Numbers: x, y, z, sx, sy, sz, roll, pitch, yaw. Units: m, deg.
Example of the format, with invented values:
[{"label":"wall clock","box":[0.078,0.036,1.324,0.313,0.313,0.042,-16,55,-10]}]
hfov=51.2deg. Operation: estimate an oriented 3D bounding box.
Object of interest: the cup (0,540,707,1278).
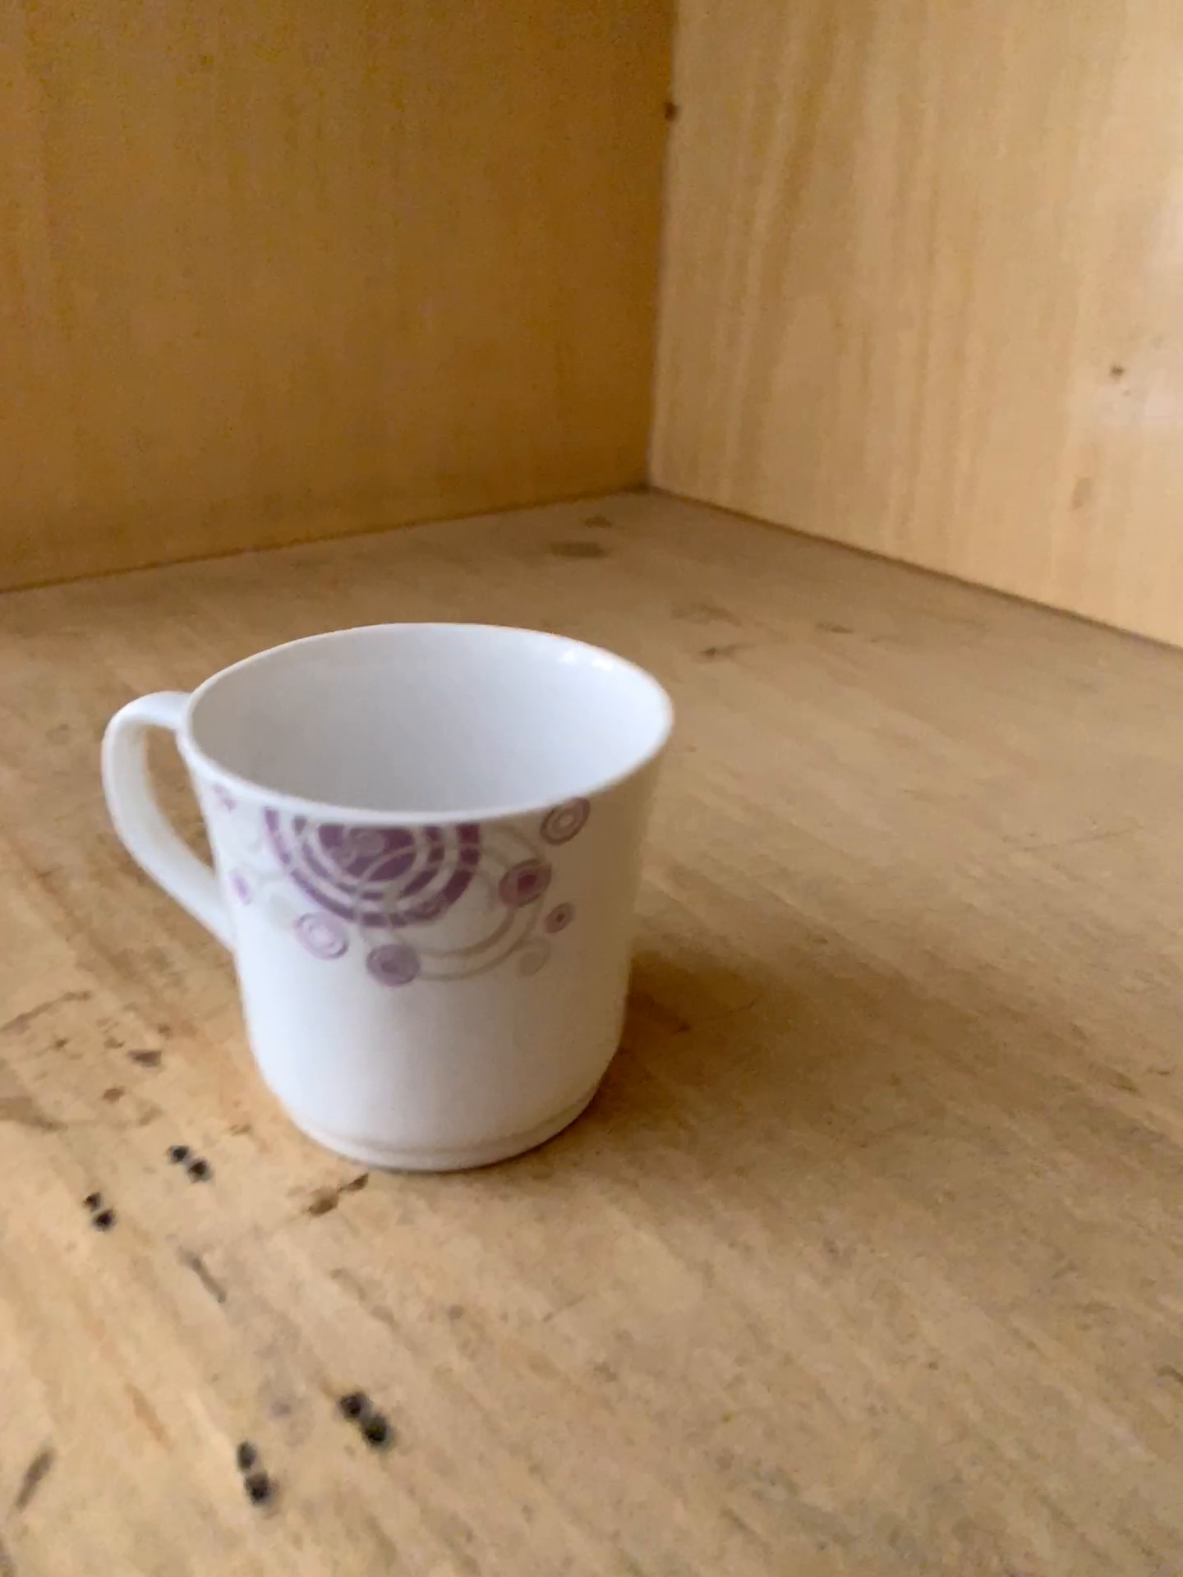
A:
[{"label":"cup","box":[-0.038,0.010,0.191,0.090,0.069,0.070,11,28,17]}]
